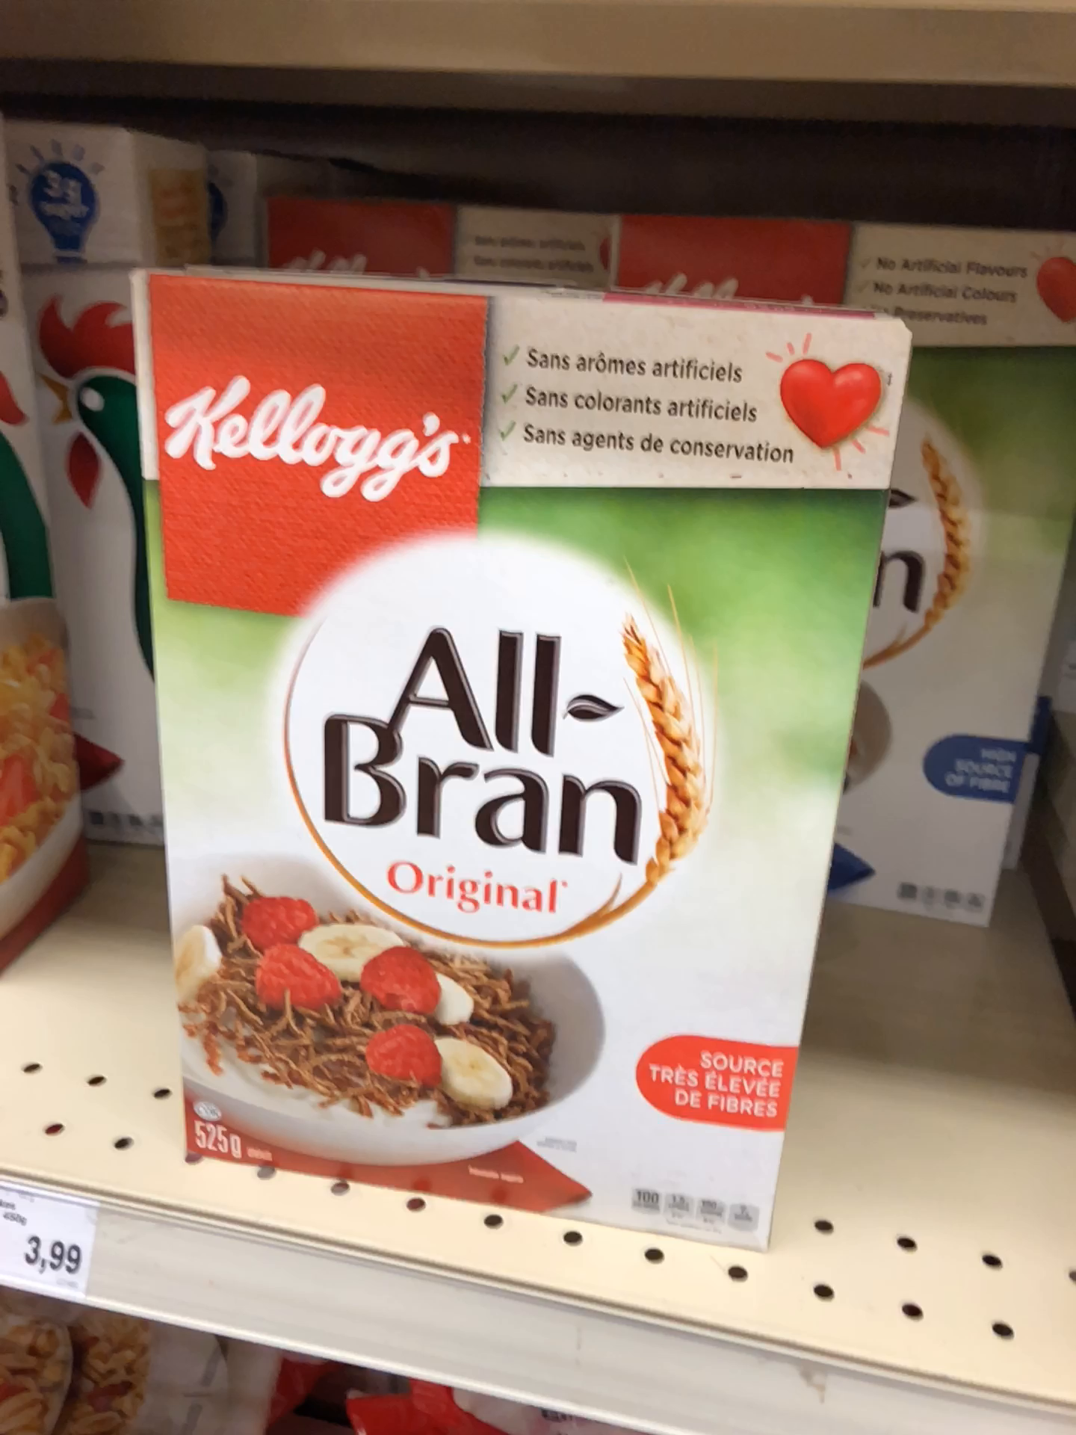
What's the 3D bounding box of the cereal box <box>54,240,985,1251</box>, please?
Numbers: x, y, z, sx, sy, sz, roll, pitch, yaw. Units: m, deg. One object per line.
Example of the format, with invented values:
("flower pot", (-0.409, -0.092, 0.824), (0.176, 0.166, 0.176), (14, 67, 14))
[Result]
("cereal box", (-0.010, 0.011, 0.307), (0.190, 0.238, 0.050), (6, 23, 9))
